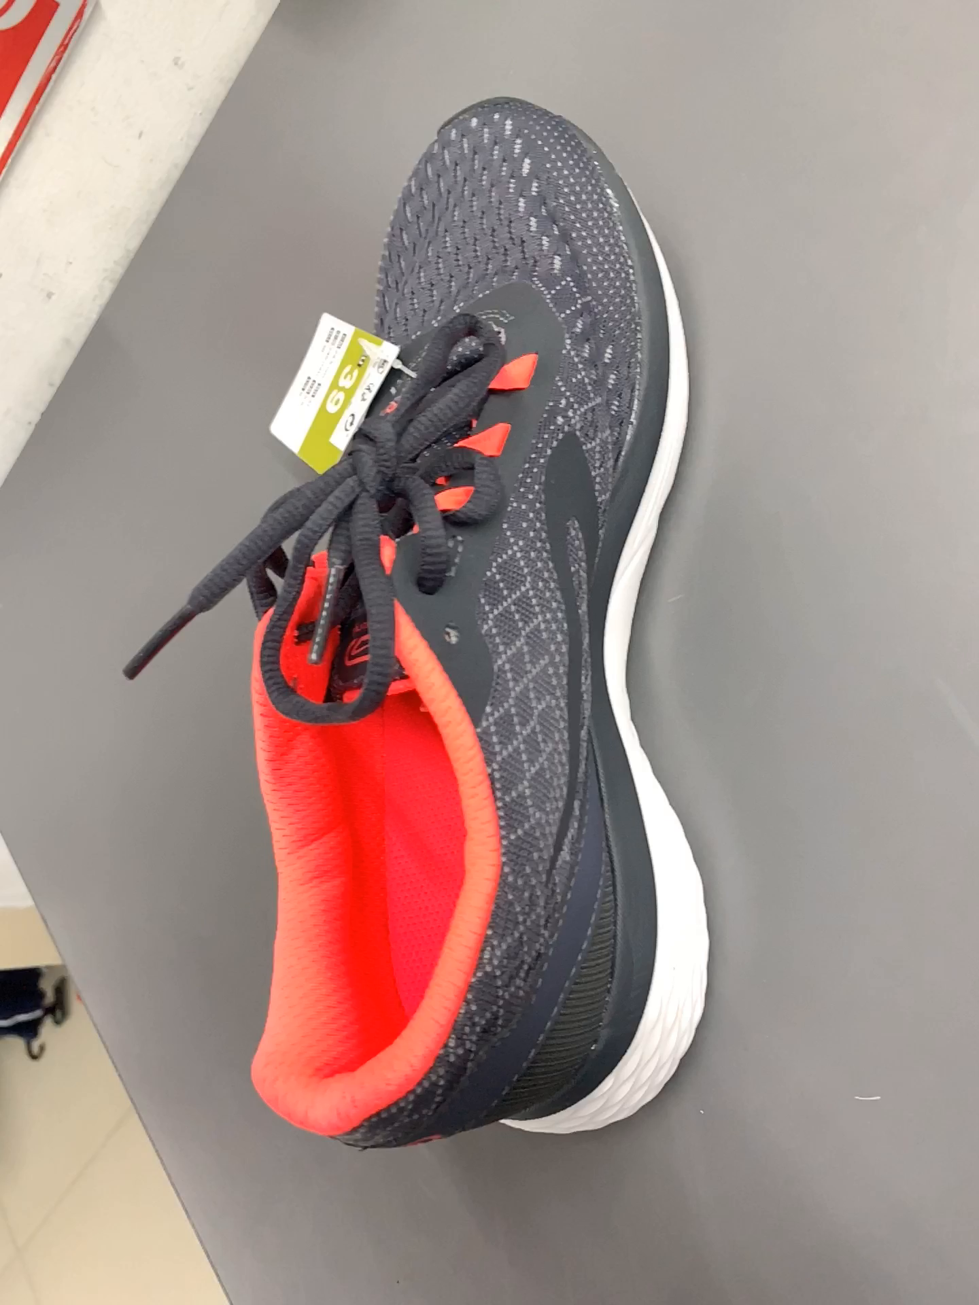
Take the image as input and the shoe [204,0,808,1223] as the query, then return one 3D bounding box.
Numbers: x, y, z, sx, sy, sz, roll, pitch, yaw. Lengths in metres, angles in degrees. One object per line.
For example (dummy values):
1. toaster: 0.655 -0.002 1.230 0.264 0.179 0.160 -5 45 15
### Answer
1. shoe: 0.007 -0.015 0.282 0.111 0.109 0.270 -8 76 33
